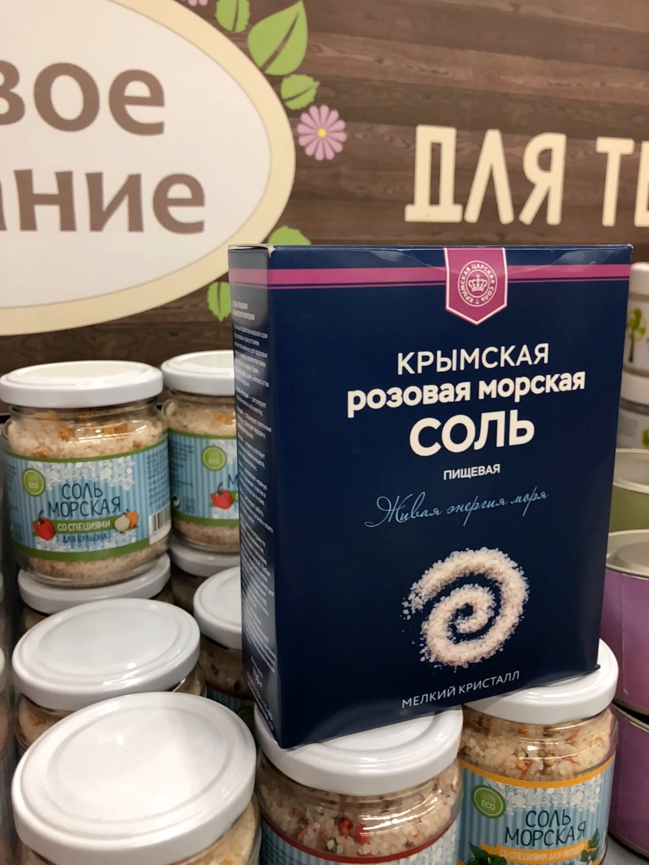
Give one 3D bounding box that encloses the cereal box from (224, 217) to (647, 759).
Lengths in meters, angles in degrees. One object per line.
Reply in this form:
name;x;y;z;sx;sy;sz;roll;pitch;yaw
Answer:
cereal box;0.034;0.011;0.231;0.120;0.149;0.040;-5;14;-21
